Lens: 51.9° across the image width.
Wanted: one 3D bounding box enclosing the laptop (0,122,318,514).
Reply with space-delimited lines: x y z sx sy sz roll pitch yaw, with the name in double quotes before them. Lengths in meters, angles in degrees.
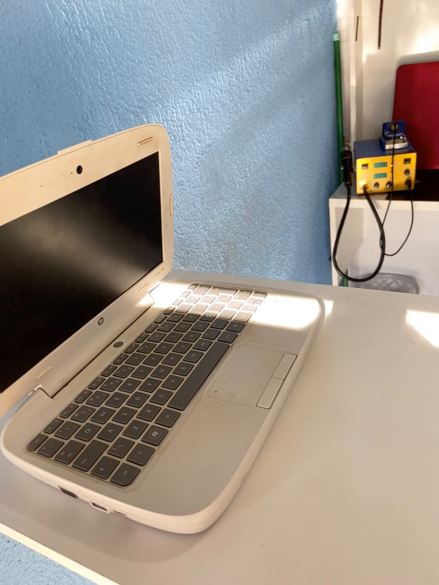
"laptop" -0.050 -0.014 0.365 0.177 0.172 0.248 7 34 27
